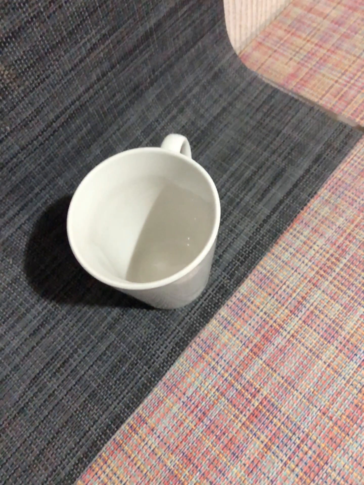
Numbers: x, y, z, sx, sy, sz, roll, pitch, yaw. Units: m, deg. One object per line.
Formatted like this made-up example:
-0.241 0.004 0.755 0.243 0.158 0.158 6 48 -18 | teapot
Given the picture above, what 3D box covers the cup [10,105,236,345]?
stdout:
-0.022 -0.007 0.257 0.096 0.096 0.112 7 68 11 | cup
